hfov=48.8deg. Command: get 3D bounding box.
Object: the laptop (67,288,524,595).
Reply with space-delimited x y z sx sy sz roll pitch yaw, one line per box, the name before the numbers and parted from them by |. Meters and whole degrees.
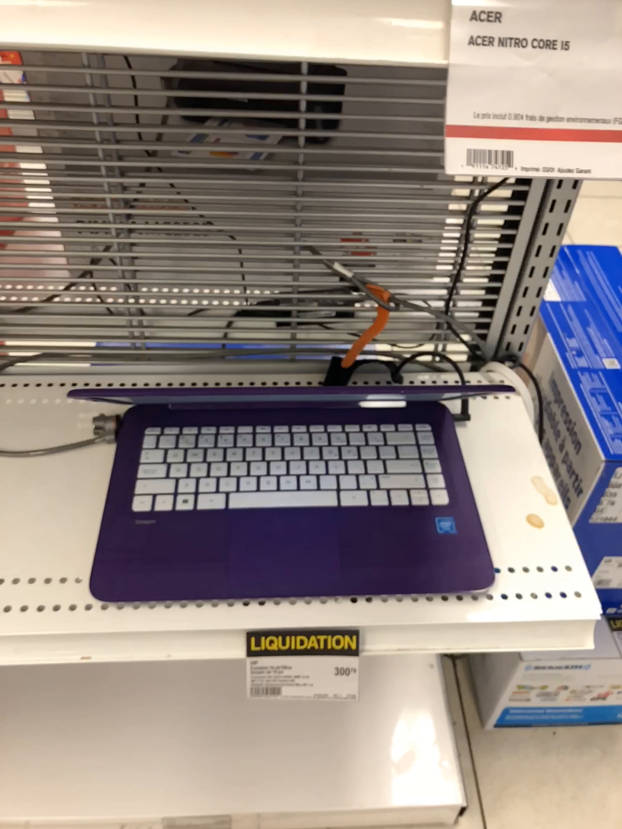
laptop | -0.013 0.016 0.576 0.305 0.138 0.207 0 47 -3
